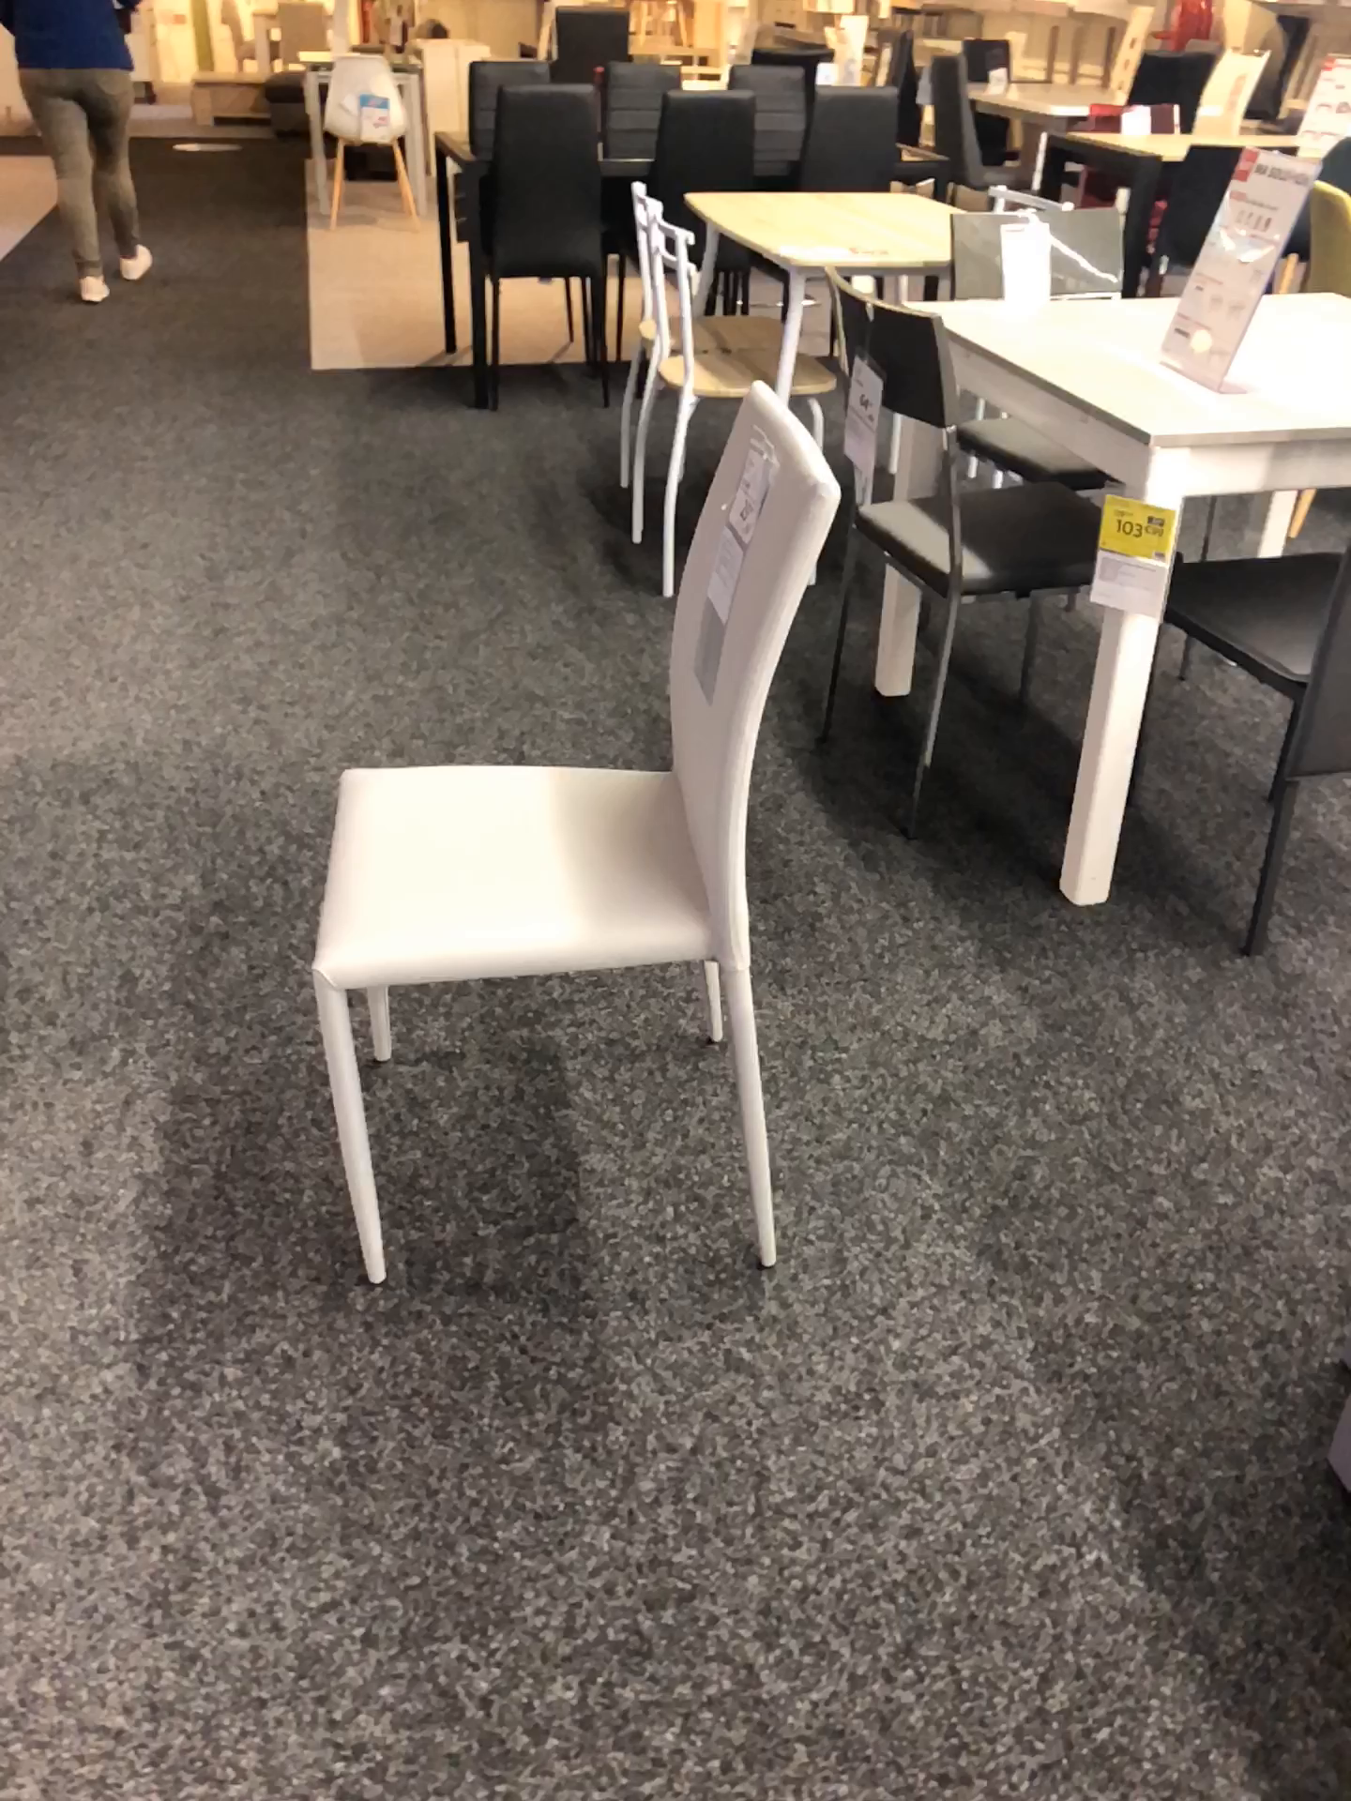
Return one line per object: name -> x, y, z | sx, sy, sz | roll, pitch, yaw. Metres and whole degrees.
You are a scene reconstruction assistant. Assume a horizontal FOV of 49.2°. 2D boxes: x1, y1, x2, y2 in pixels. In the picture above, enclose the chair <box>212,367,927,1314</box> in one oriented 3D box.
chair -> -0.115, -0.075, 1.537 | 0.540, 0.815, 0.503 | -3, 32, -8
